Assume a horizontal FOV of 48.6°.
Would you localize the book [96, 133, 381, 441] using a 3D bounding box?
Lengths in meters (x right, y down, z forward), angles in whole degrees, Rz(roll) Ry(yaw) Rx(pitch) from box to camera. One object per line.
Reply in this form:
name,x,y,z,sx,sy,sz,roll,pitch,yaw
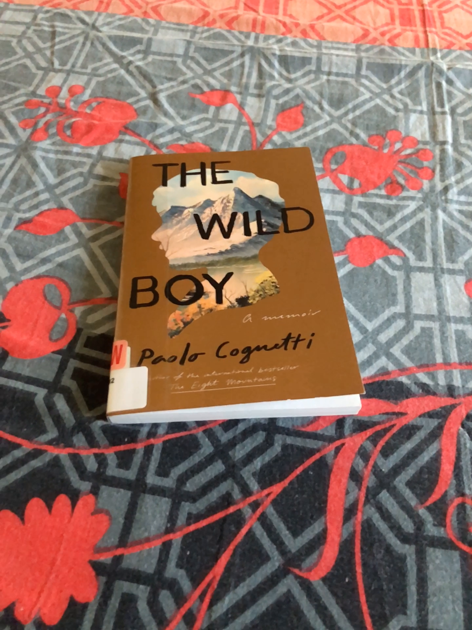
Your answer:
book,-0.004,-0.035,0.354,0.150,0.030,0.230,-4,54,0
